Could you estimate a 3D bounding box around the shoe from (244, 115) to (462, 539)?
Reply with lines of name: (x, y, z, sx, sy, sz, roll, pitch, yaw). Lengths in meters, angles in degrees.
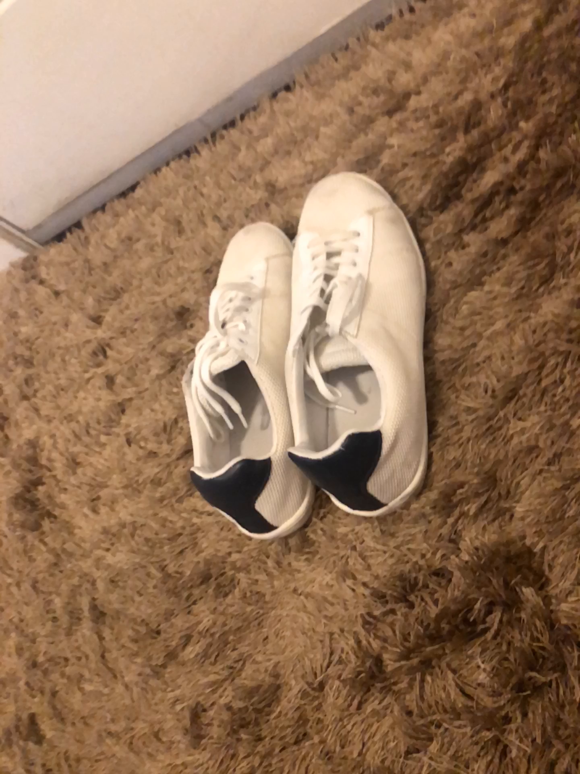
shoe: (0.034, -0.043, 0.443, 0.105, 0.079, 0.264, -19, 59, 30)

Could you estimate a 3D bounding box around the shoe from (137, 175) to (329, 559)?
shoe: (-0.043, -0.017, 0.490, 0.101, 0.079, 0.264, -19, 59, 30)
